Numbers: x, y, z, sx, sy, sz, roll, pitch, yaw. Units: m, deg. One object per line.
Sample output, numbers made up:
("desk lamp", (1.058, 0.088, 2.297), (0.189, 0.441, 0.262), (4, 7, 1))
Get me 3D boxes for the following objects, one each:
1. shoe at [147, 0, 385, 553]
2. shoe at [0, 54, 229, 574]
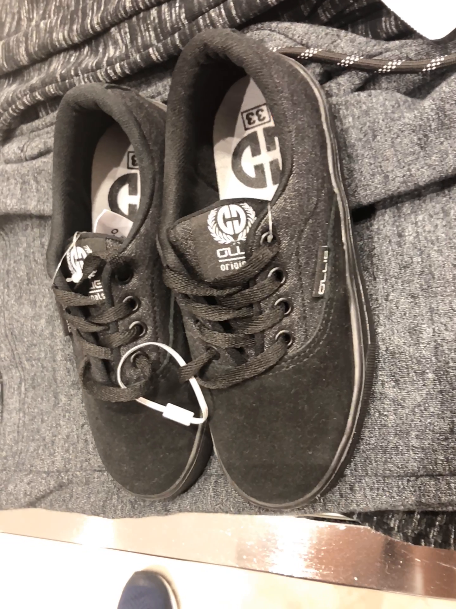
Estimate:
("shoe", (0.022, -0.019, 0.258), (0.090, 0.080, 0.240), (-4, 86, 20))
("shoe", (-0.058, 0.003, 0.269), (0.090, 0.080, 0.220), (0, 87, 20))
